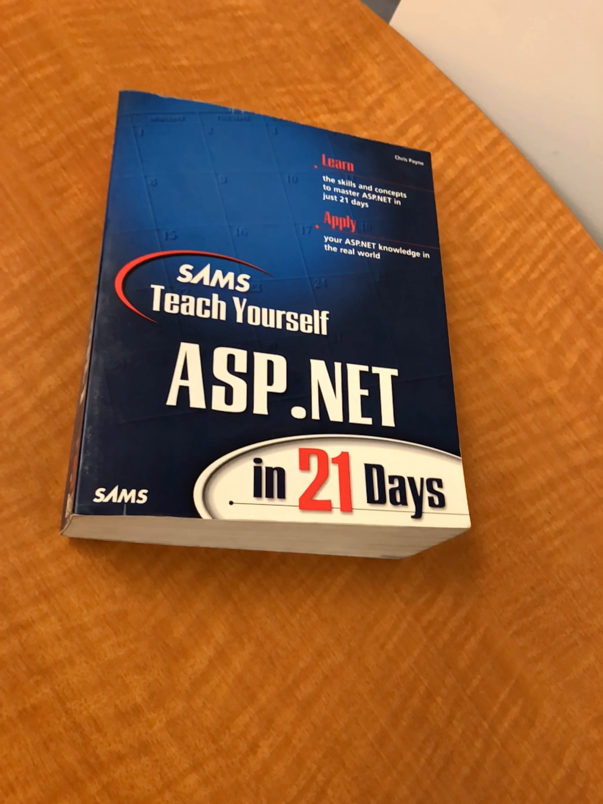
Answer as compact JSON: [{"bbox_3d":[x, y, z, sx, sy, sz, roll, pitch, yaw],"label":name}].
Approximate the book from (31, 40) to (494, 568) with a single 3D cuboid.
[{"bbox_3d":[-0.014,-0.045,0.353,0.200,0.070,0.240,8,67,-17],"label":"book"}]
